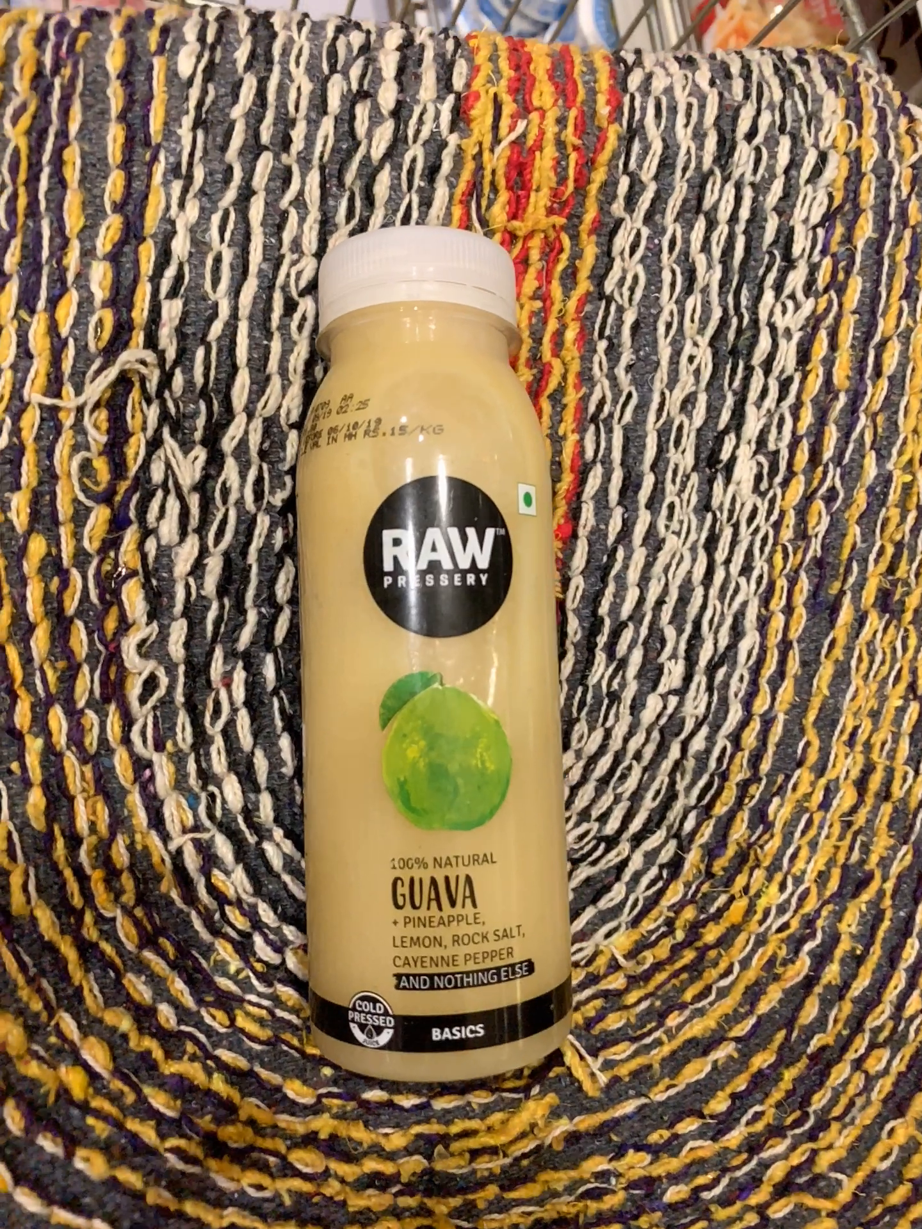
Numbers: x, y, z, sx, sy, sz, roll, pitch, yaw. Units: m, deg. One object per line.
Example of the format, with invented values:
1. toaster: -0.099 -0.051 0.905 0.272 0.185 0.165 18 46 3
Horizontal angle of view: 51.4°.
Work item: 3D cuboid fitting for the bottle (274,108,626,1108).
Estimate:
1. bottle: -0.006 -0.004 0.177 0.050 0.040 0.160 -2 85 -11
